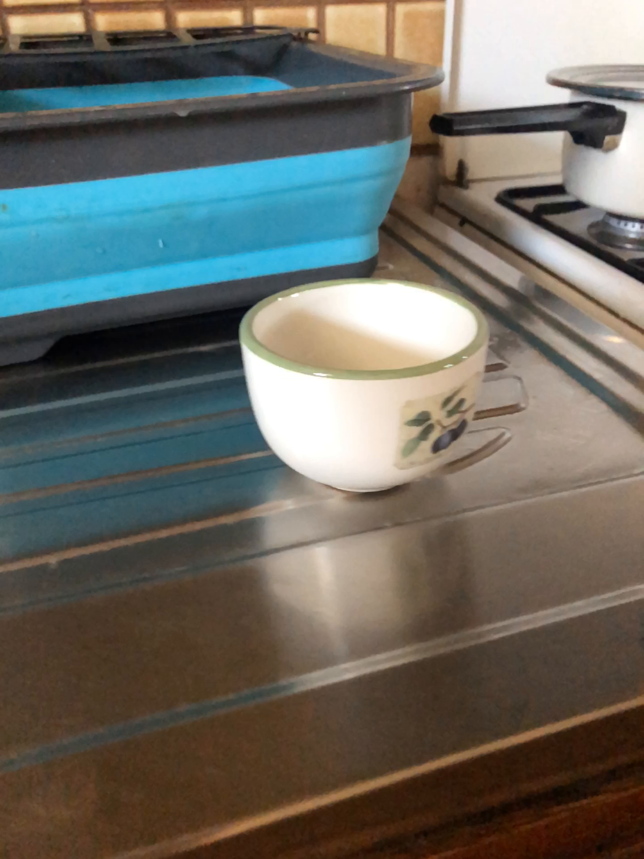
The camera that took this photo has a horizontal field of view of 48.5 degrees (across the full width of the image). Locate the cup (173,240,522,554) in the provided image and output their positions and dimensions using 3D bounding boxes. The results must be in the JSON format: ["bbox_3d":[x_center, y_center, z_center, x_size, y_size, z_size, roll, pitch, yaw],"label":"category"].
[{"bbox_3d":[0.016,-0.022,0.272,0.090,0.060,0.111,12,34,20],"label":"cup"}]
